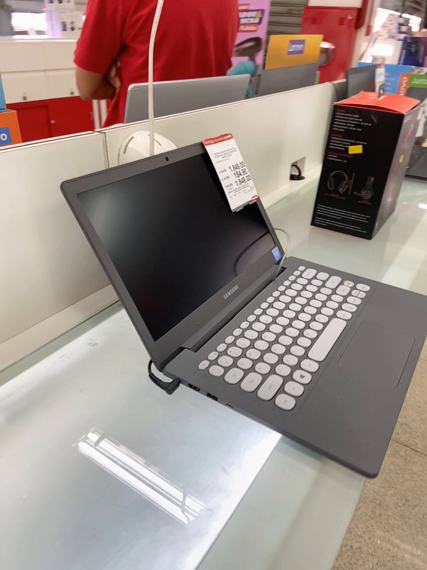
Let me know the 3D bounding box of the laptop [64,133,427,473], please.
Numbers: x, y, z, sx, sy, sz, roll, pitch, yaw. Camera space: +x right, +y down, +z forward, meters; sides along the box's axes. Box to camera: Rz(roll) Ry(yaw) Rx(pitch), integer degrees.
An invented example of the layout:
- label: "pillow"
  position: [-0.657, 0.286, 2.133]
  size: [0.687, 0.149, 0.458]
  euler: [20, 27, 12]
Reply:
- label: "laptop"
  position: [0.080, -0.039, 0.514]
  size: [0.340, 0.172, 0.326]
  euler: [19, 34, 27]
